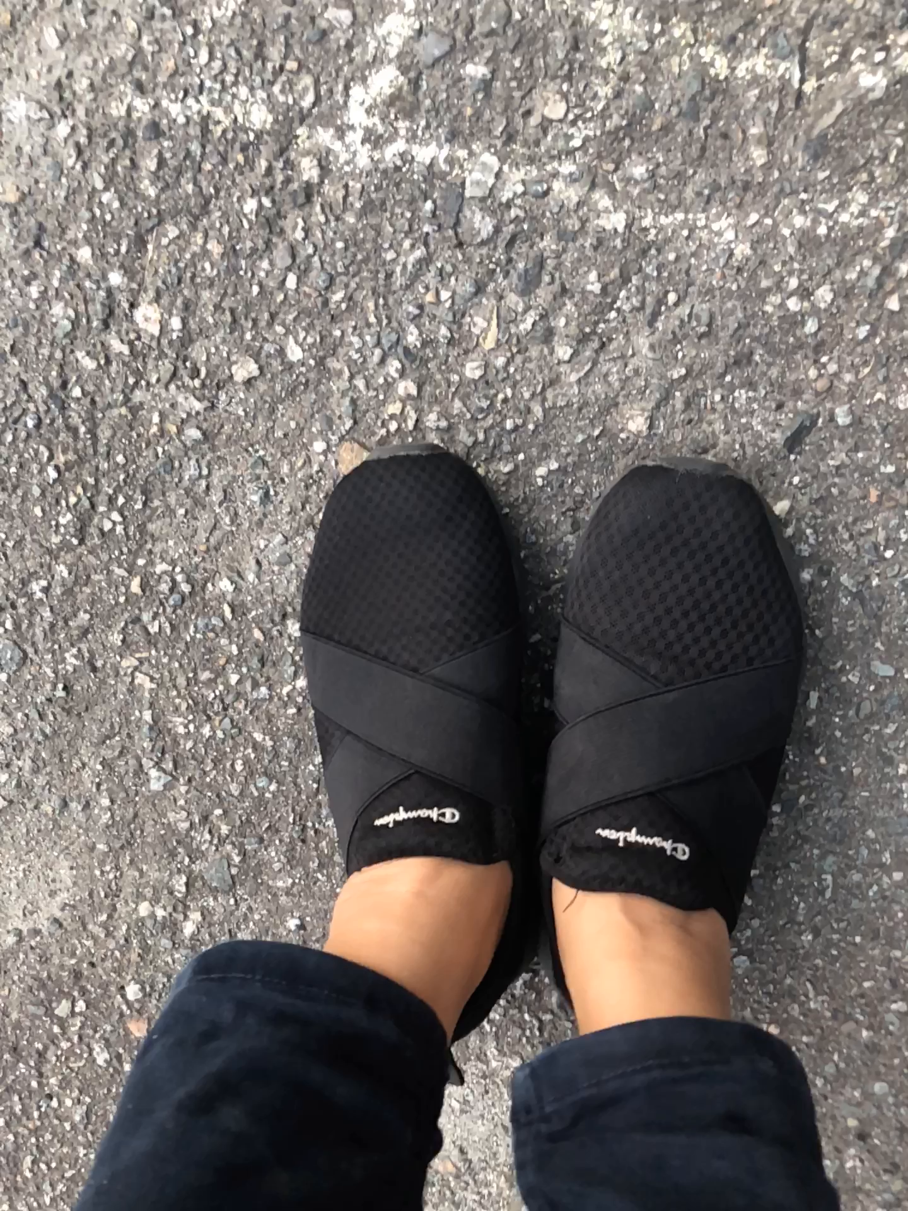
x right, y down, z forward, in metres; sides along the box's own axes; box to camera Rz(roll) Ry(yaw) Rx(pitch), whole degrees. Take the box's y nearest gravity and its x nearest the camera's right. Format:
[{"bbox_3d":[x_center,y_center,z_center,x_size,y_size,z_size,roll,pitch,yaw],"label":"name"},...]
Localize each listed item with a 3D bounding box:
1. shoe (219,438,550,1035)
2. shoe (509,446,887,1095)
[{"bbox_3d":[-0.018,0.051,0.394,0.100,0.070,0.220,-1,107,10],"label":"shoe"},{"bbox_3d":[0.082,0.059,0.377,0.100,0.080,0.220,6,108,8],"label":"shoe"}]
